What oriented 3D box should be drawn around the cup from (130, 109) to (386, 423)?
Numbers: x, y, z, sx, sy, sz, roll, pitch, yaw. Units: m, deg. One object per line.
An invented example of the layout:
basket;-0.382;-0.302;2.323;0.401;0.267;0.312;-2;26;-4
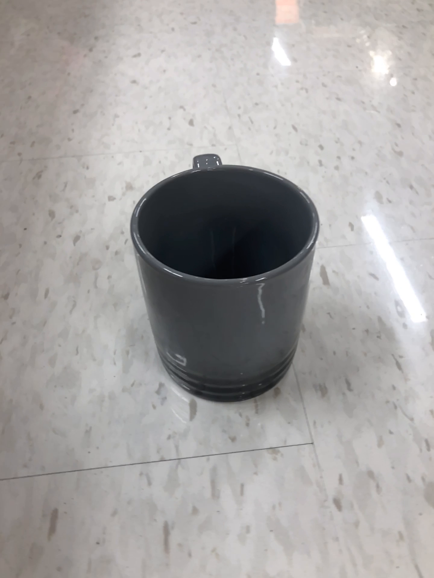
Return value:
cup;0.008;-0.021;0.274;0.100;0.089;0.151;-6;48;-5
